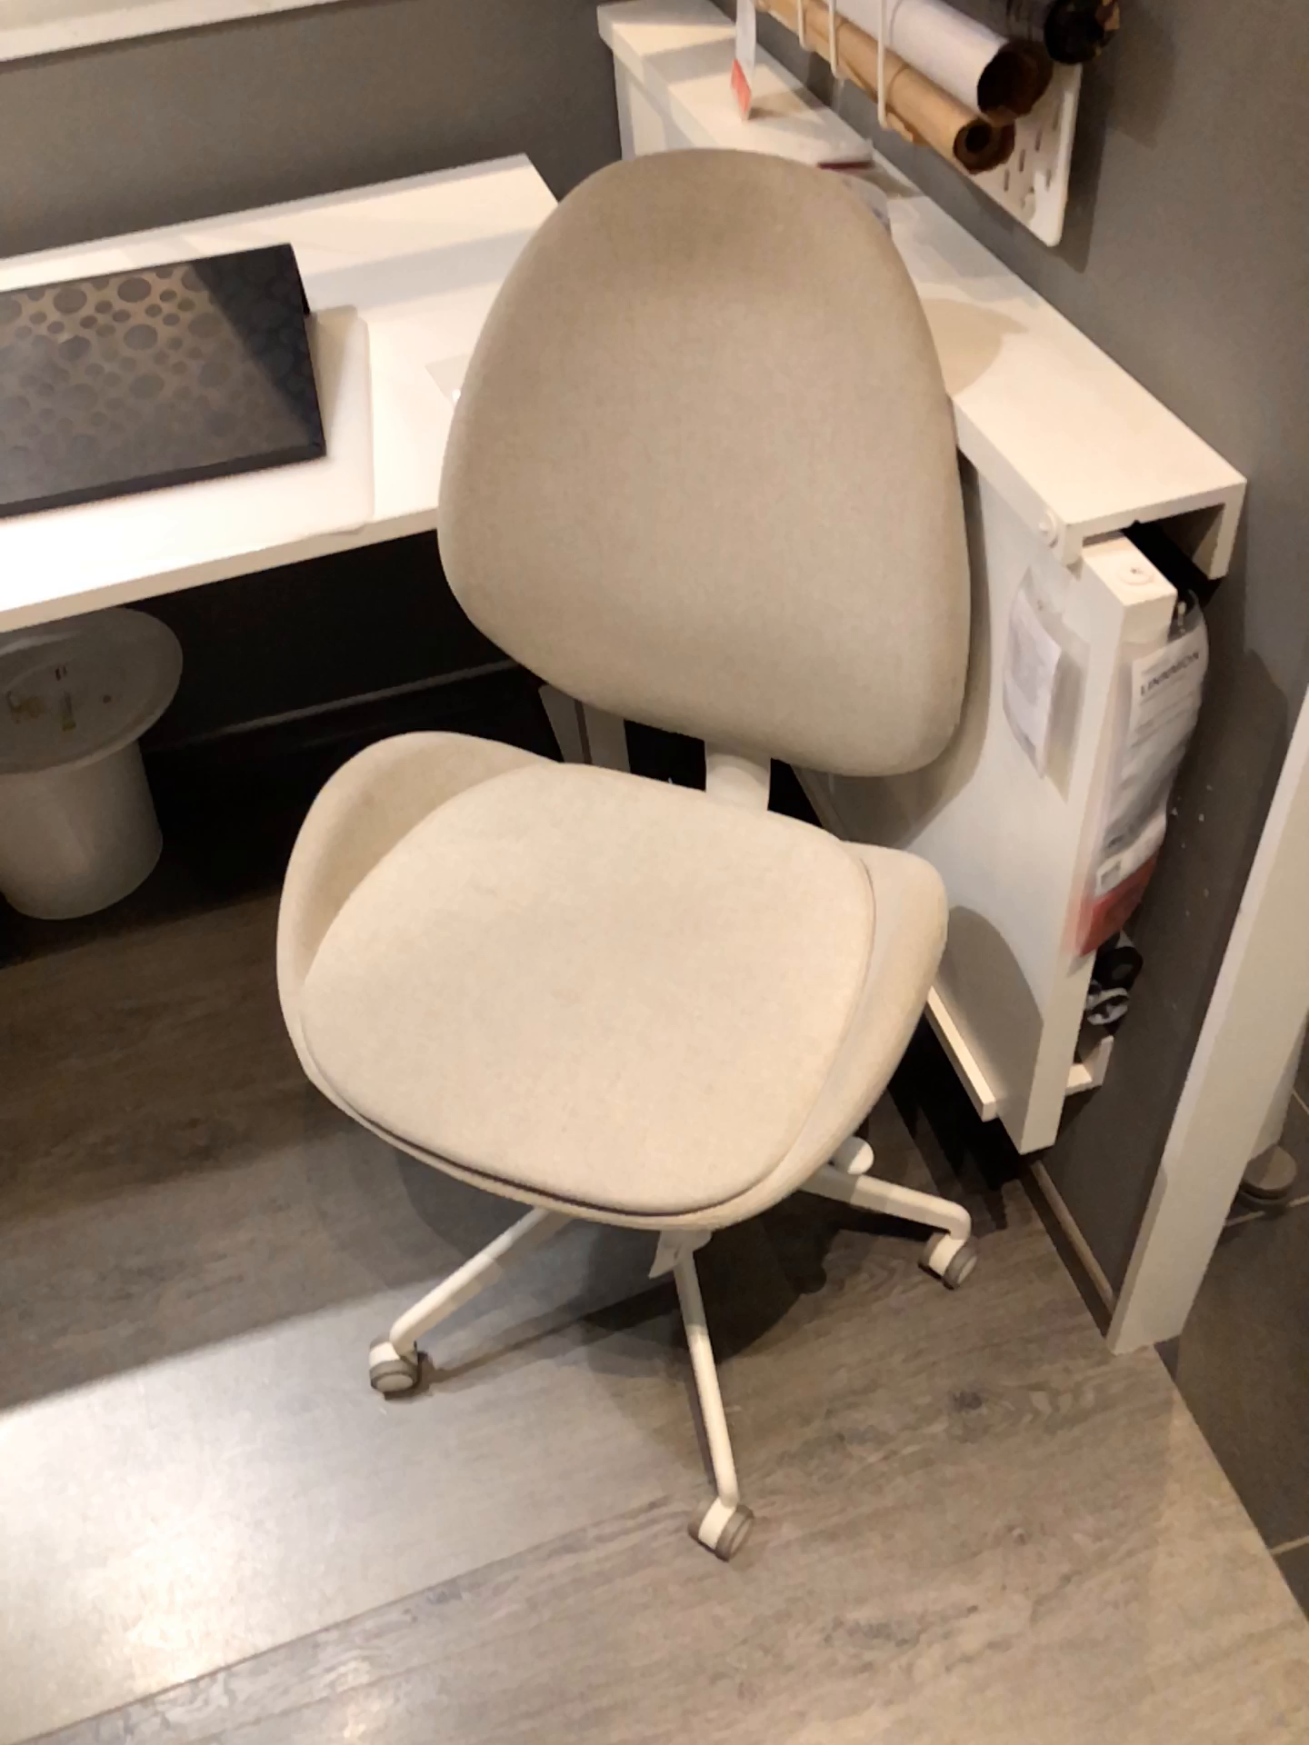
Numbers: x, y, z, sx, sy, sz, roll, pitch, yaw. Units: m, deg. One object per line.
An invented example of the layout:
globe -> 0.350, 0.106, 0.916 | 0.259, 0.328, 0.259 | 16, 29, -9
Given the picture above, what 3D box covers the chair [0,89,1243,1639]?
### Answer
chair -> -0.027, 0.002, 1.213 | 0.681, 0.963, 0.683 | 17, 50, 22
